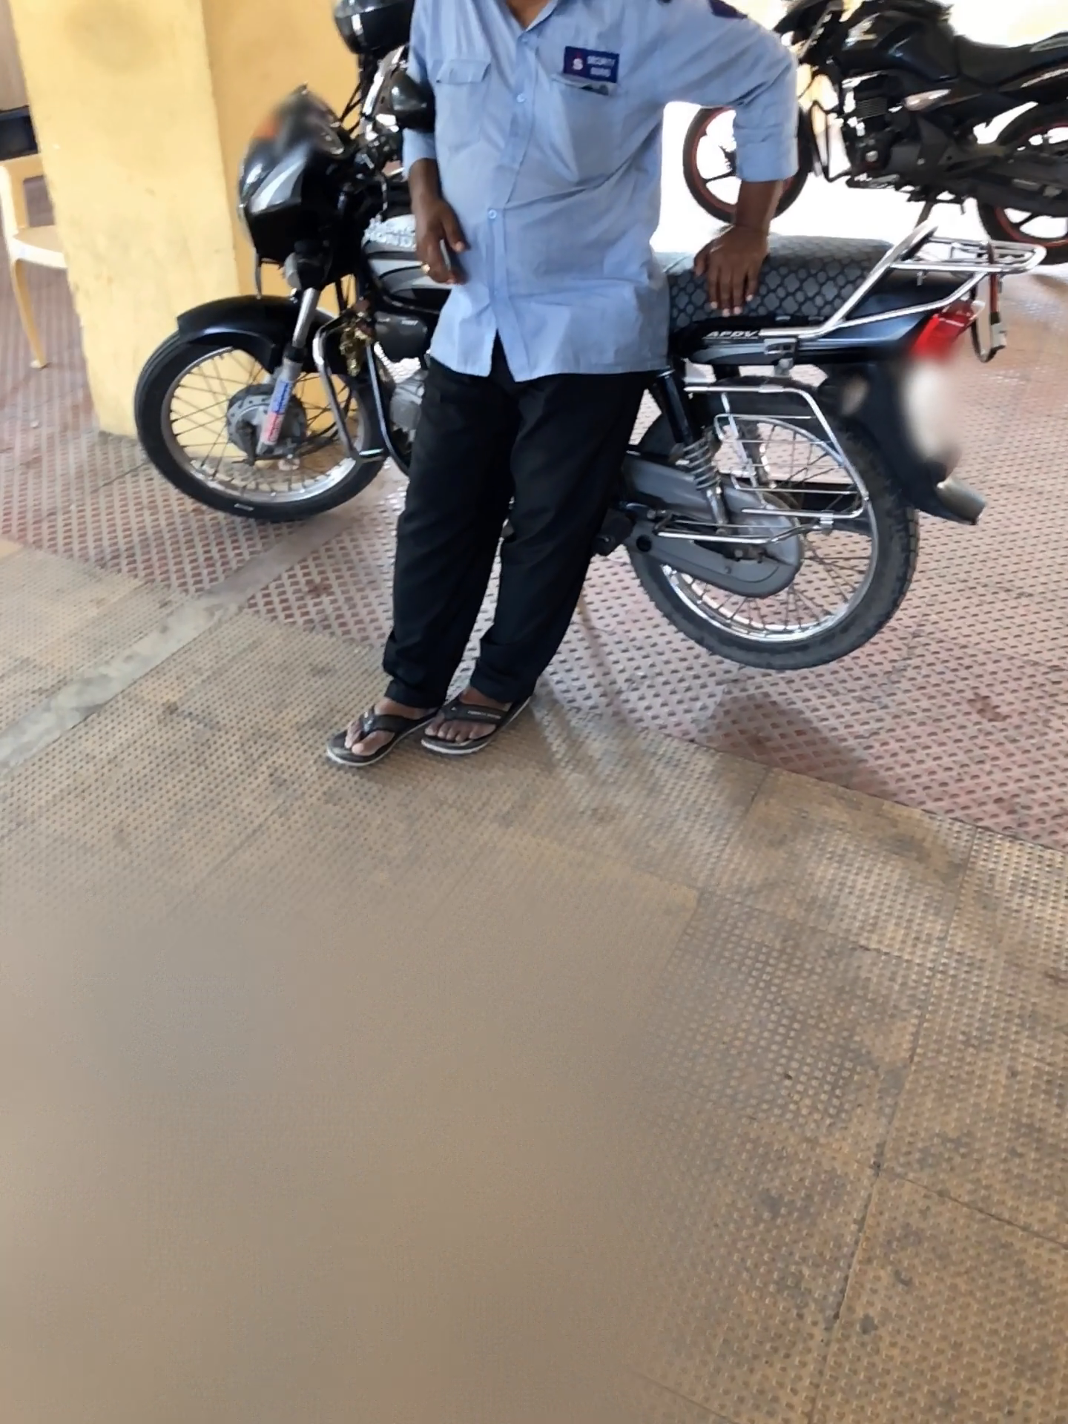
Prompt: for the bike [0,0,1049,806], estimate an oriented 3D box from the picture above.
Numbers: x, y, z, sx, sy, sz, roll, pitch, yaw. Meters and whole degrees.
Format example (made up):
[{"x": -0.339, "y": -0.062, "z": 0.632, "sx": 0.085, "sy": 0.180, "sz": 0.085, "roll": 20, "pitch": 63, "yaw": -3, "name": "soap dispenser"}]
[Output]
[{"x": -0.130, "y": -0.667, "z": 2.194, "sx": 1.675, "sy": 1.036, "sz": 0.682, "roll": 18, "pitch": 39, "yaw": 20, "name": "bike"}]
